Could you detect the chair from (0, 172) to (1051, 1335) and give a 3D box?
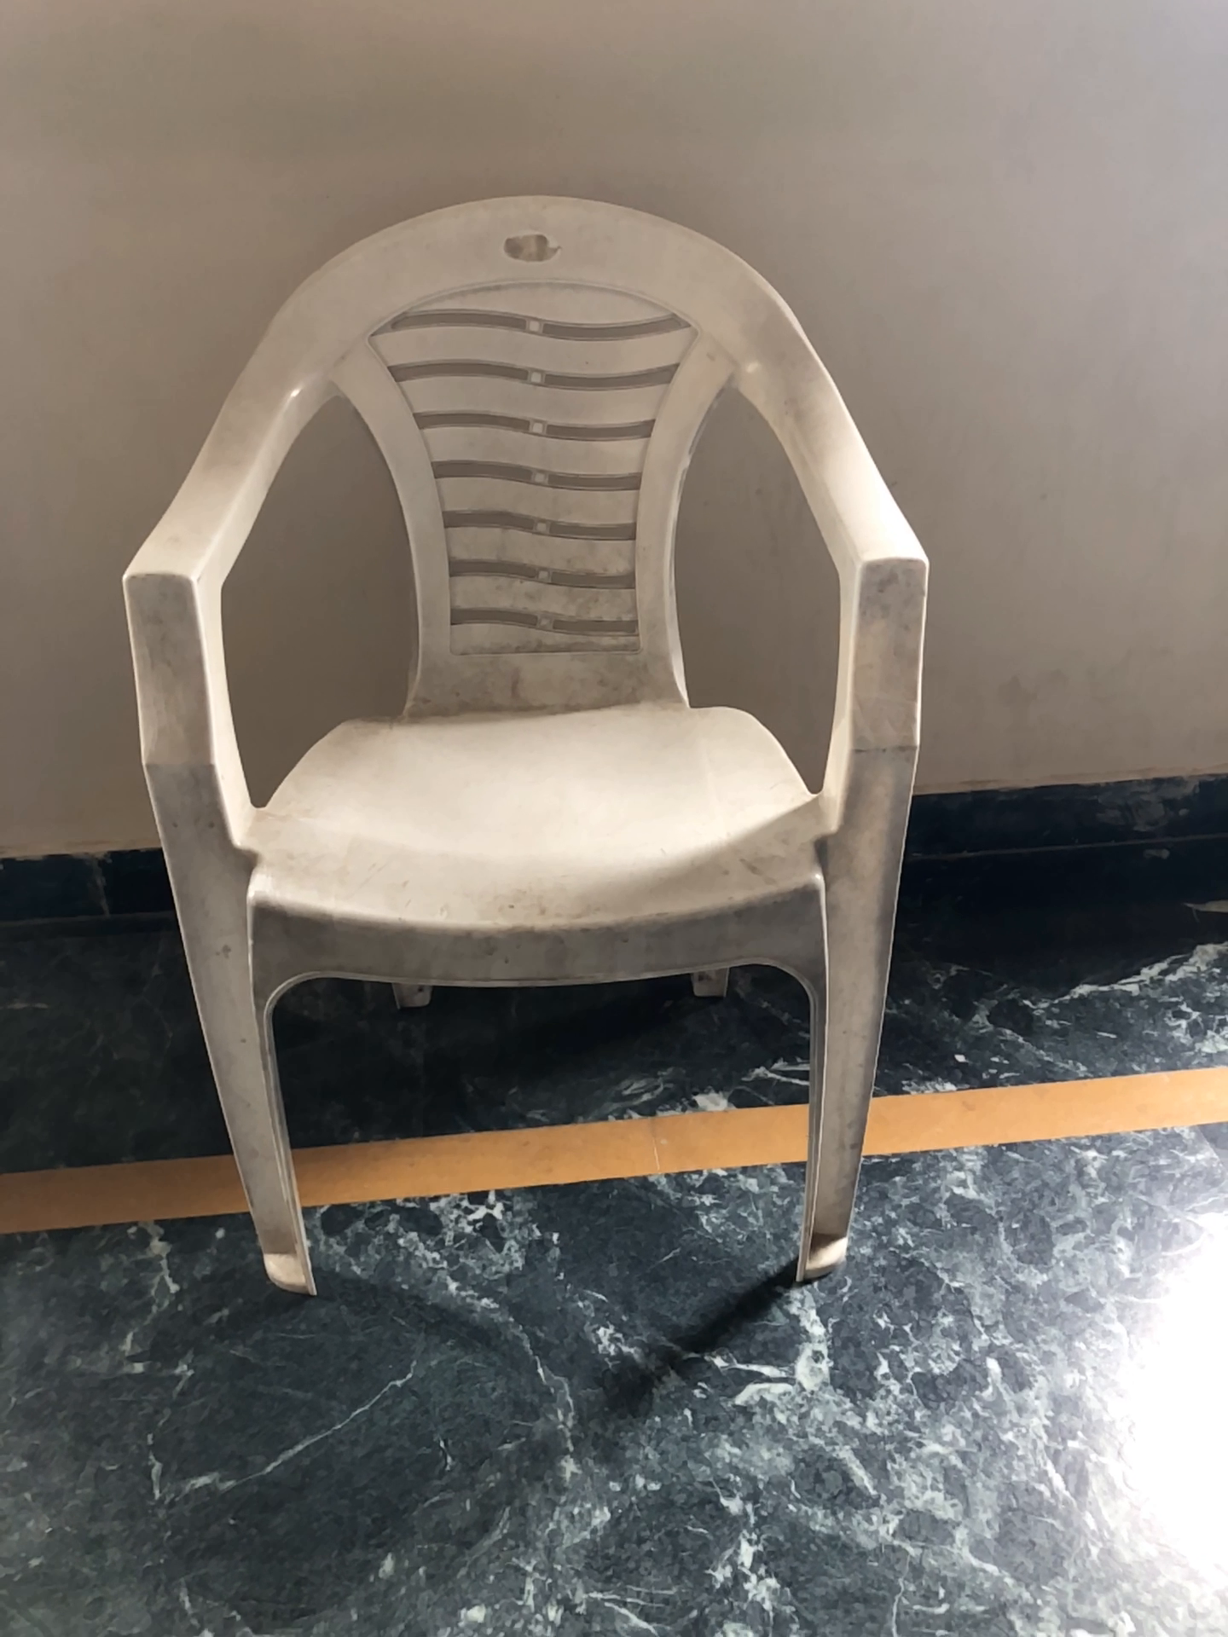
[{"bbox_3d":[-0.074,-0.095,1.173,0.580,0.775,0.624,-3,31,-4],"label":"chair"}]
